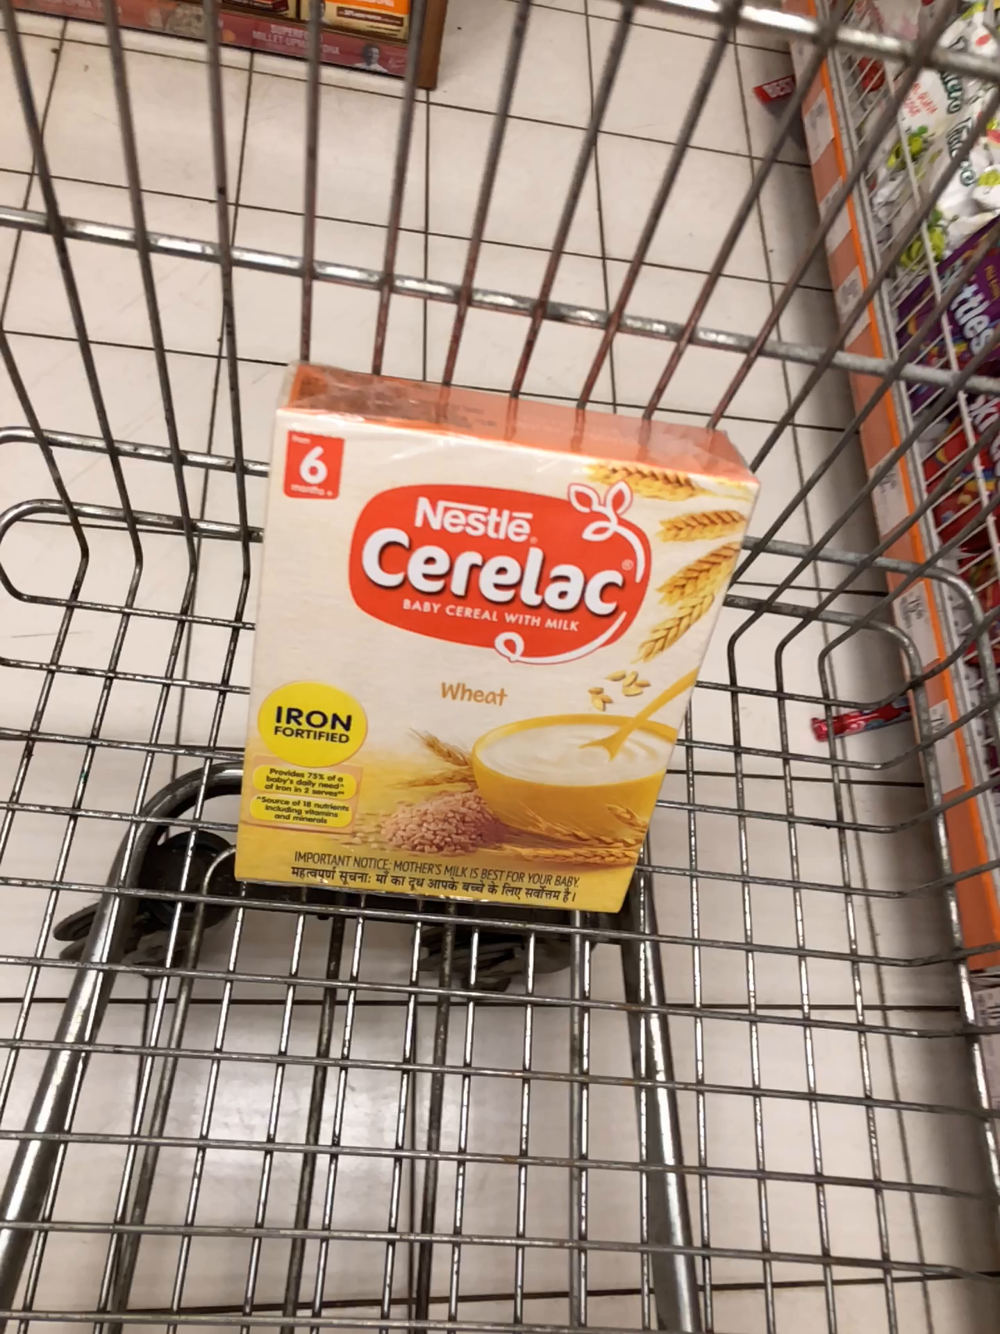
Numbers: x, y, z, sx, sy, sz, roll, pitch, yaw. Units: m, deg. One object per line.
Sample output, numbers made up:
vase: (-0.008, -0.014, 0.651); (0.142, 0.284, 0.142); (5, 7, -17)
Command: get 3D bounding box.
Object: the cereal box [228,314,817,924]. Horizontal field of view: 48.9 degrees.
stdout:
cereal box: (-0.003, -0.006, 0.362); (0.150, 0.179, 0.050); (7, 29, -10)
